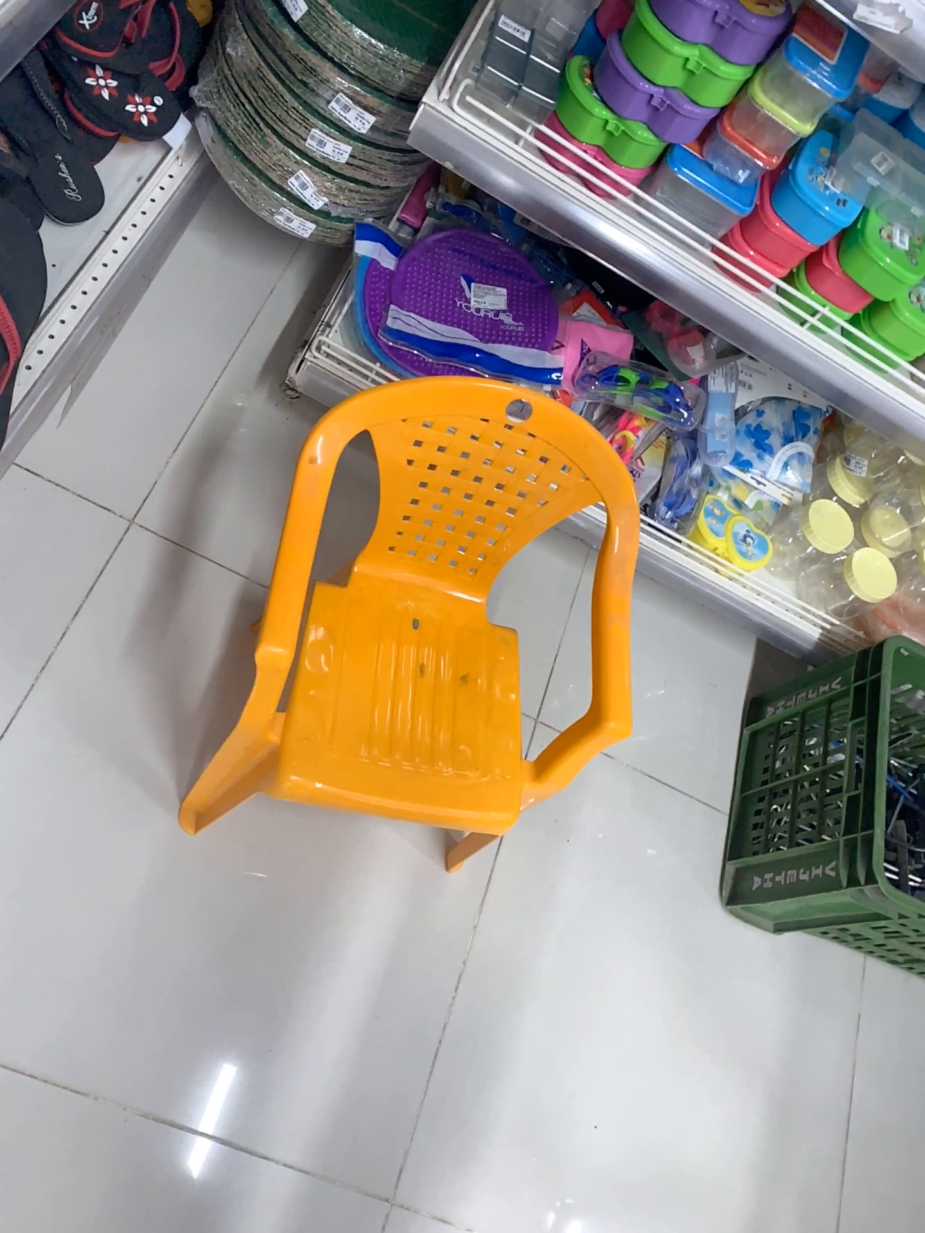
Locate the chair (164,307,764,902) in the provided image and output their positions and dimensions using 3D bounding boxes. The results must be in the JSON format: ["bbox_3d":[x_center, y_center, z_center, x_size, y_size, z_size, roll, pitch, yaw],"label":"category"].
[{"bbox_3d":[-0.024,0.047,0.926,0.400,0.459,0.360,14,64,-18],"label":"chair"}]
